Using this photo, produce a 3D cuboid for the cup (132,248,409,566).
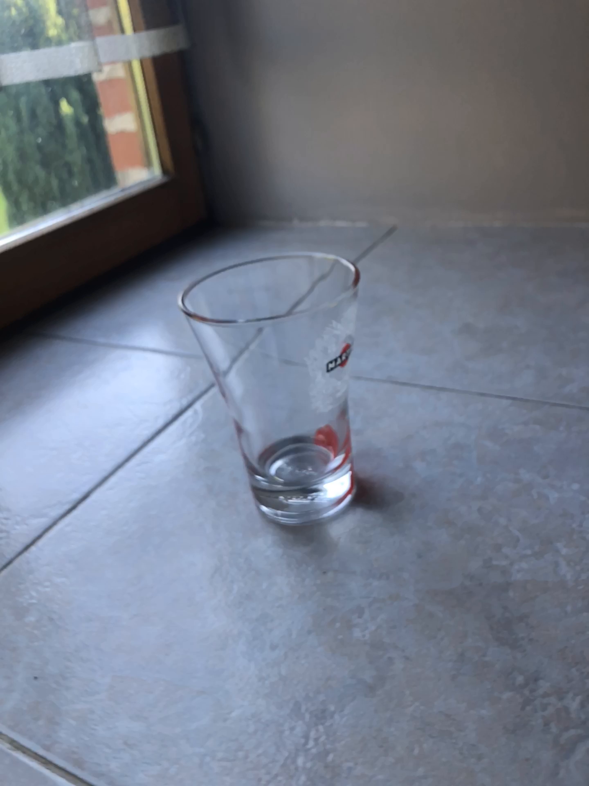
[{"bbox_3d":[-0.005,0.000,0.344,0.092,0.116,0.096,-5,30,3],"label":"cup"}]
